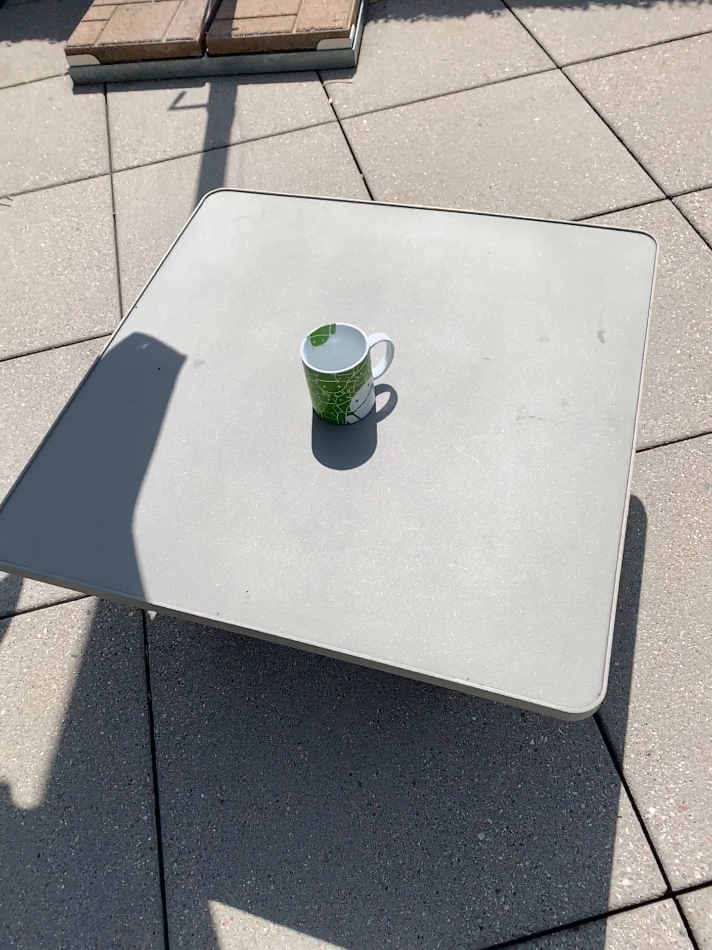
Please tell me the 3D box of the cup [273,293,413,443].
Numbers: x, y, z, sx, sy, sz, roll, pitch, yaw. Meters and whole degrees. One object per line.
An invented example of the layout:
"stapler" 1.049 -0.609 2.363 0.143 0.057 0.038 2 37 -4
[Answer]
"cup" -0.012 -0.123 0.837 0.120 0.090 0.090 -39 59 -18
